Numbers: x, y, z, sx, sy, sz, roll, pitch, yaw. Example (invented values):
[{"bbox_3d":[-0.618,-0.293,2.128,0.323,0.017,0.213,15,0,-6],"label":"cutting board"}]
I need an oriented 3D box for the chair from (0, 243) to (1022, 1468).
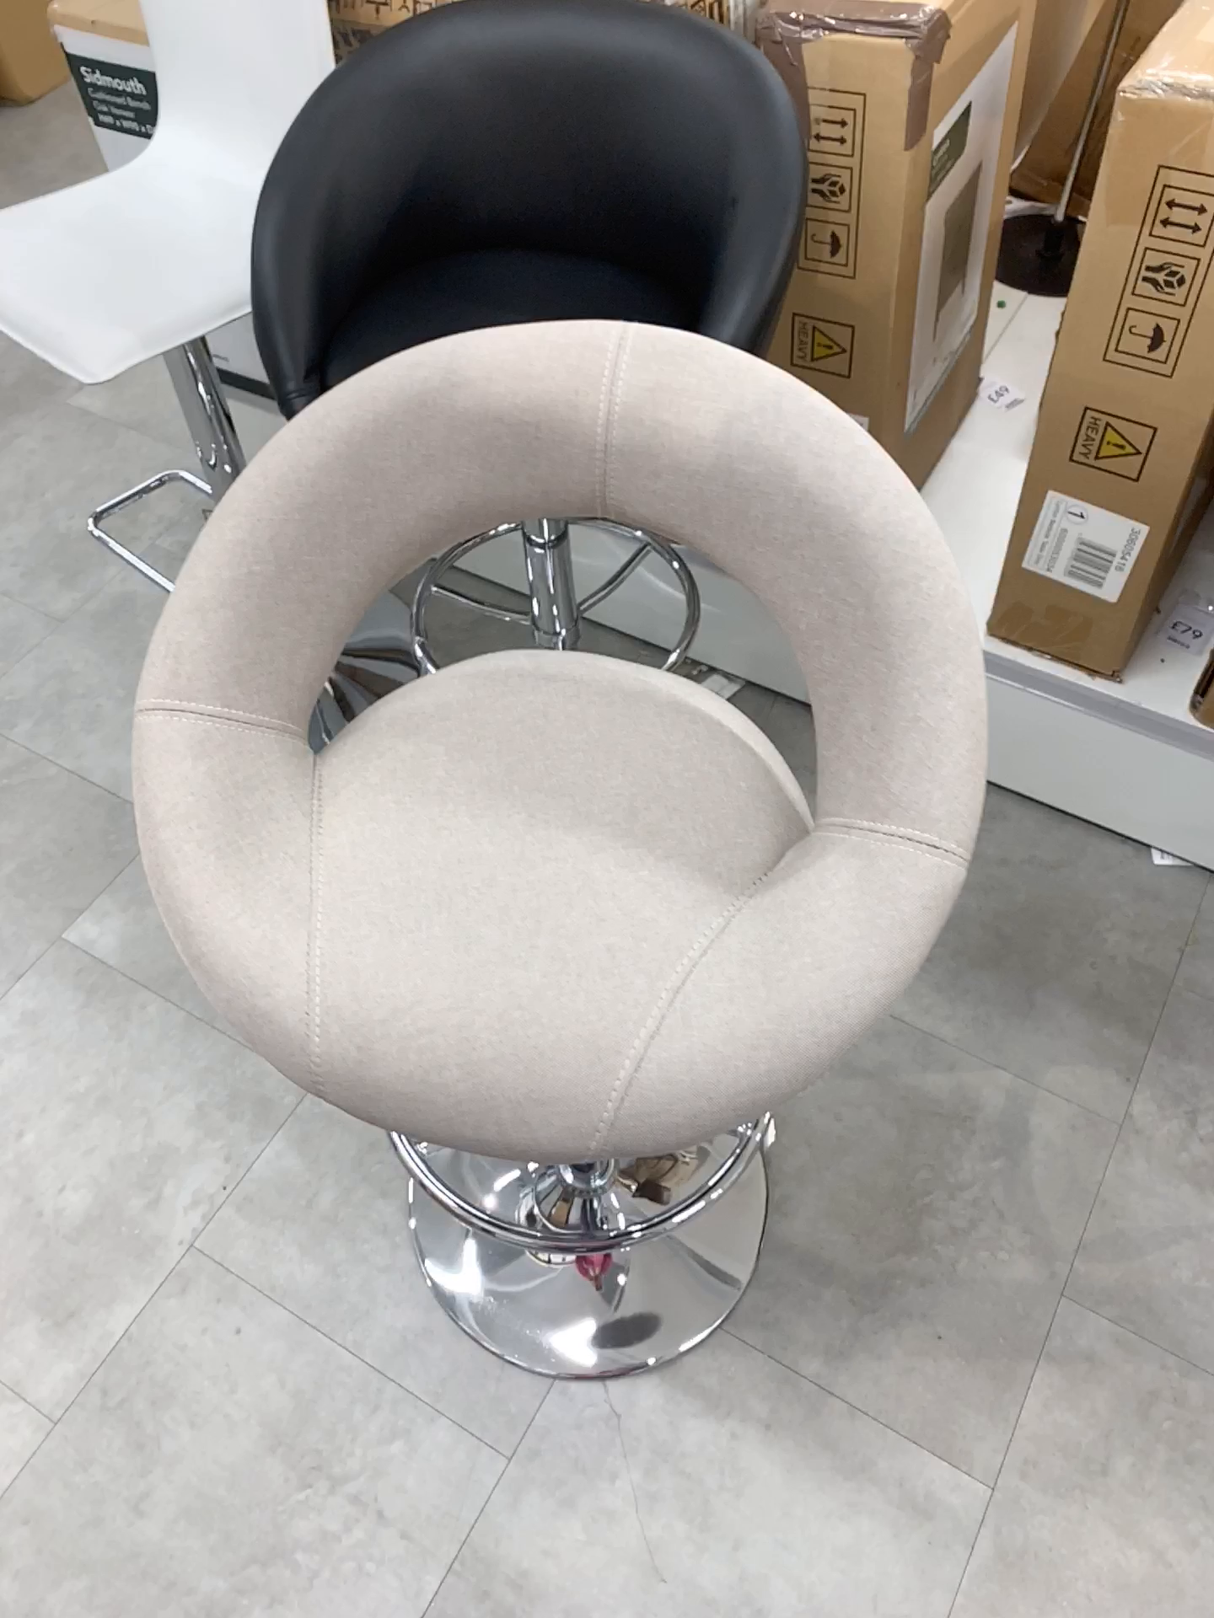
[{"bbox_3d":[-0.046,0.141,1.069,0.484,0.979,0.467,17,56,15],"label":"chair"}]

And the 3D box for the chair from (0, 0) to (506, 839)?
[{"bbox_3d":[-0.540,-0.547,1.593,0.485,1.009,0.536,-38,61,-23],"label":"chair"}]

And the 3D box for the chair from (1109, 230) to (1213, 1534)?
[{"bbox_3d":[0.970,0.134,1.100,0.576,0.910,0.536,-38,61,-23],"label":"chair"}]

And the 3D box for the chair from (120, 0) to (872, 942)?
[{"bbox_3d":[-0.057,-0.357,1.456,0.494,0.940,0.487,17,56,15],"label":"chair"}]
